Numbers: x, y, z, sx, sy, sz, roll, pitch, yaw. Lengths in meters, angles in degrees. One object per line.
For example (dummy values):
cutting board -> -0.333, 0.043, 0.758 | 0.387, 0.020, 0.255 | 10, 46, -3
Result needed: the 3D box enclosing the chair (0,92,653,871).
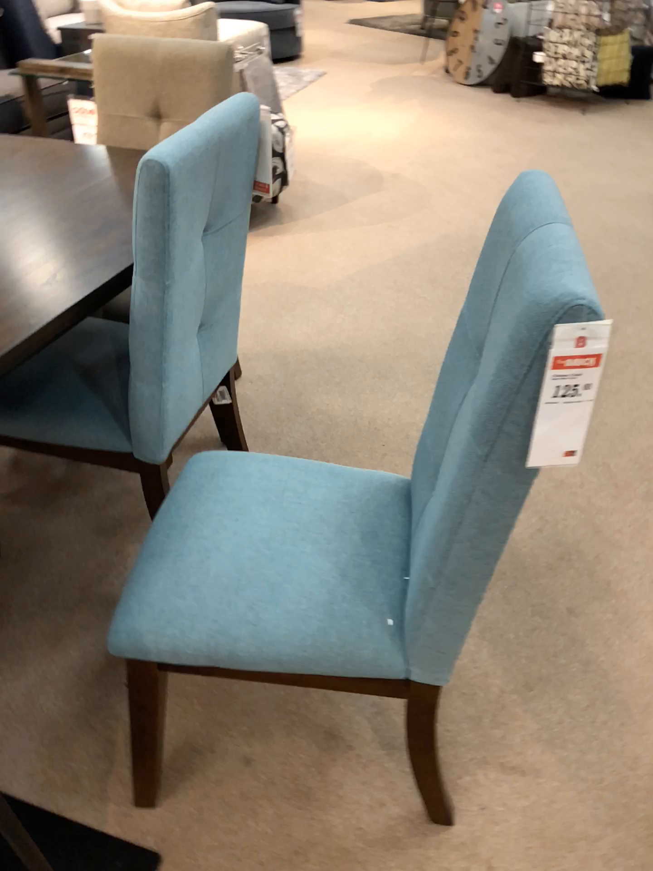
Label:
chair -> -0.040, 0.109, 1.054 | 0.620, 0.993, 0.544 | 6, 36, 5
